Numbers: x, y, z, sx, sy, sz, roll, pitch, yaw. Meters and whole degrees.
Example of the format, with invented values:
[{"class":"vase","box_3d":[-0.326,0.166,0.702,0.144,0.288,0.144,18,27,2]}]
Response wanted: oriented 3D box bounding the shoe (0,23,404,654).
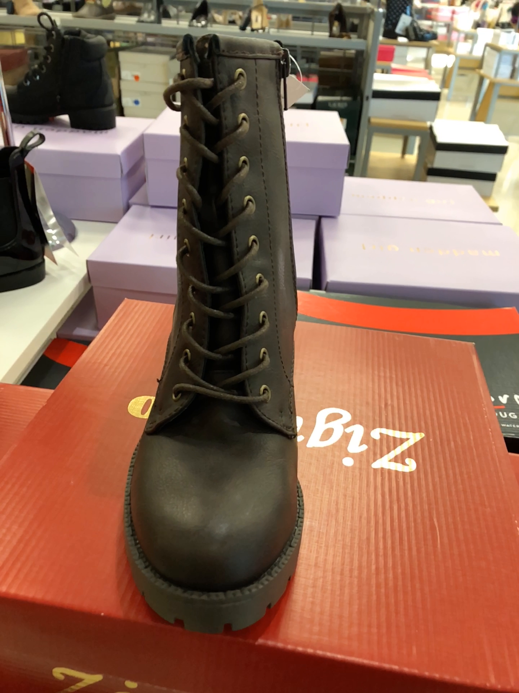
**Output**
[{"class":"shoe","box_3d":[-0.018,-0.028,0.292,0.100,0.218,0.242,4,32,0]}]
